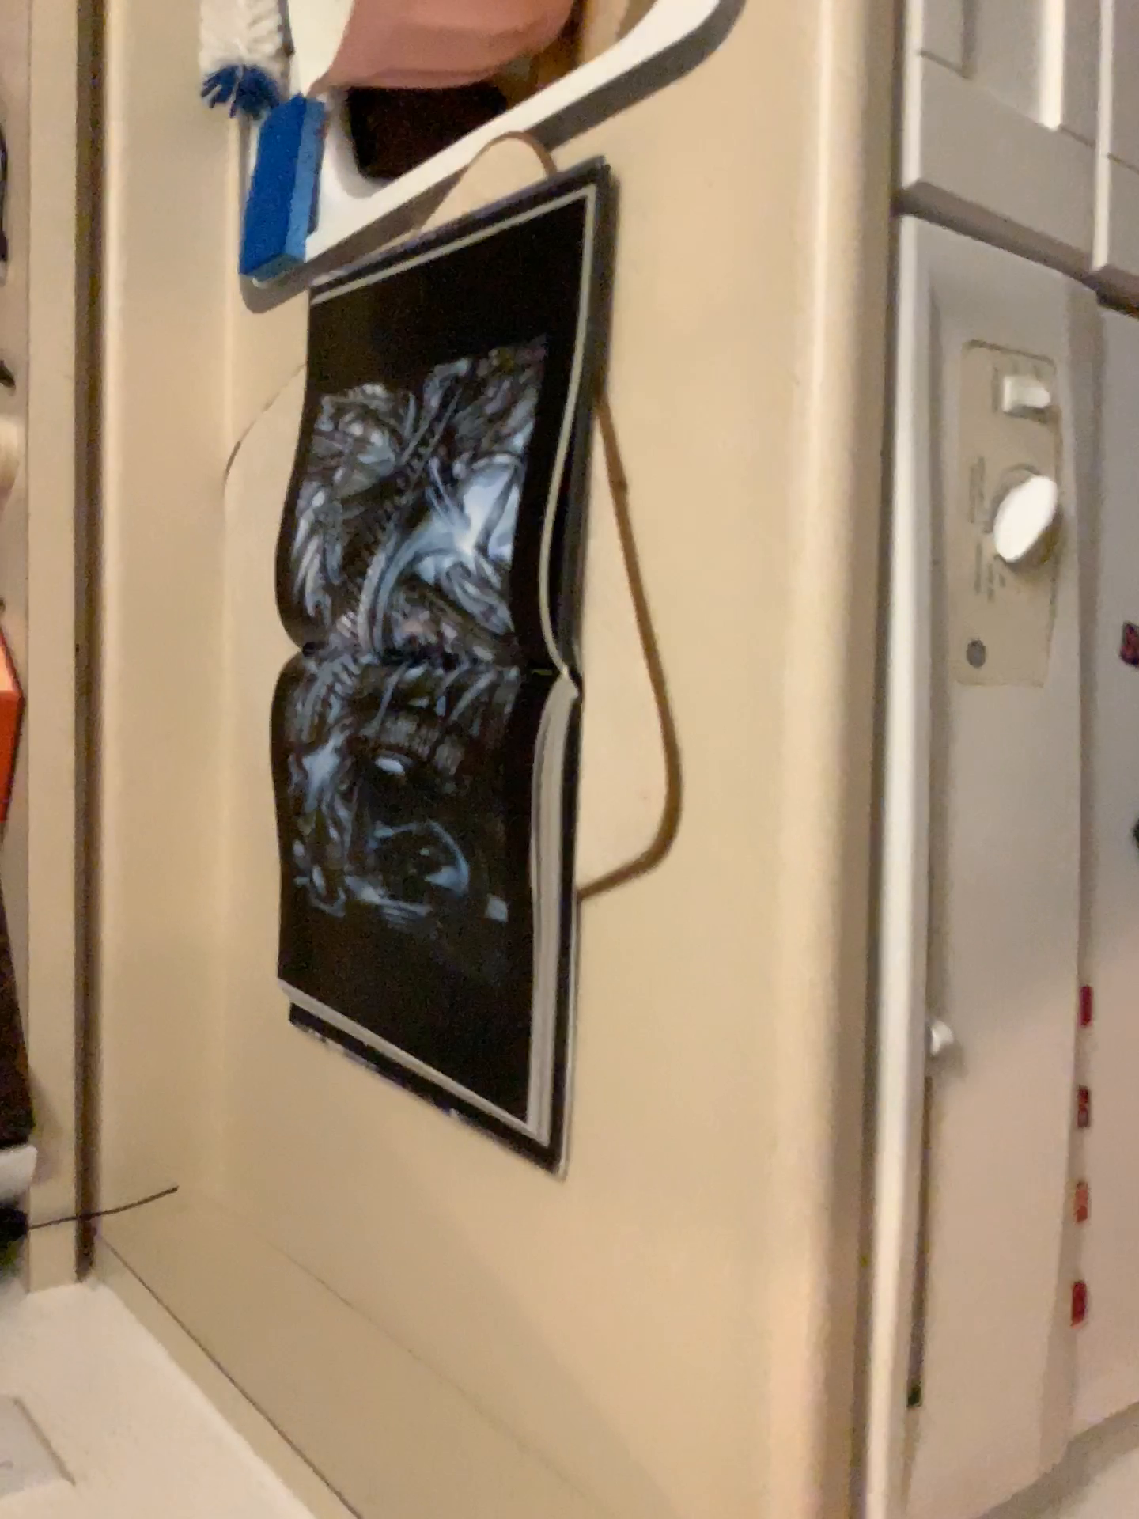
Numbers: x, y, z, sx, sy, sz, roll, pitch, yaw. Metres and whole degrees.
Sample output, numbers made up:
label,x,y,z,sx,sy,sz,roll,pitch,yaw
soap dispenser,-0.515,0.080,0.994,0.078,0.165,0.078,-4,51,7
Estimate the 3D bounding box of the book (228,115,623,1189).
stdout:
label,x,y,z,sx,sy,sz,roll,pitch,yaw
book,-0.112,-0.062,0.765,0.350,0.040,0.530,9,97,52
